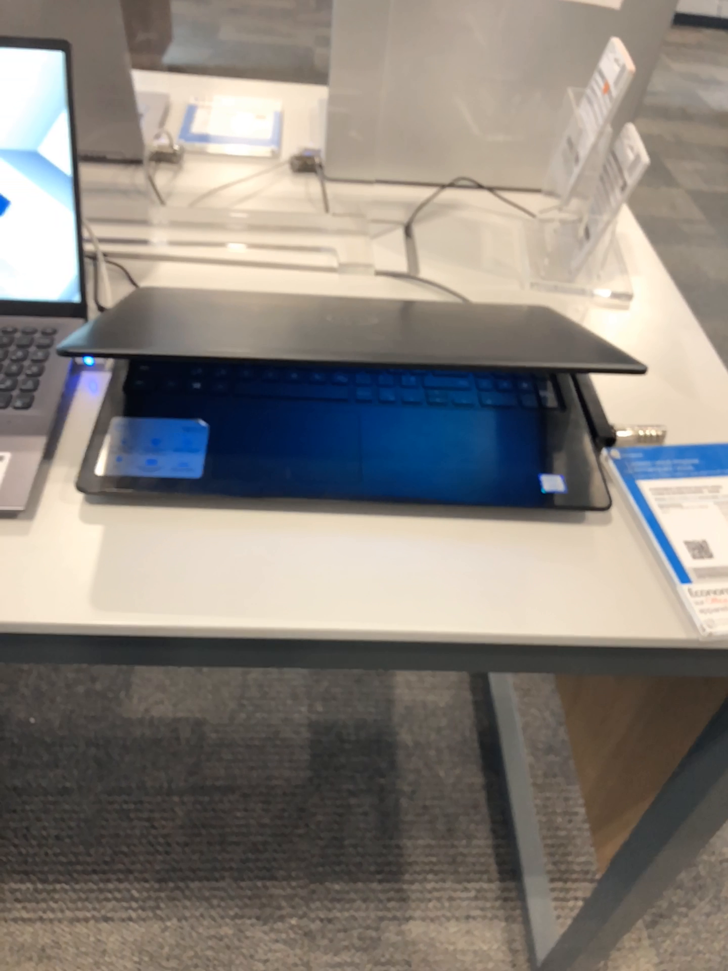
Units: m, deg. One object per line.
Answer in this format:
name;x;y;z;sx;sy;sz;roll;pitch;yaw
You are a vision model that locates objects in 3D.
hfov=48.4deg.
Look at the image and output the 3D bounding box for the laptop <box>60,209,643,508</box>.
laptop;-0.005;-0.106;0.621;0.365;0.080;0.246;3;43;-5
